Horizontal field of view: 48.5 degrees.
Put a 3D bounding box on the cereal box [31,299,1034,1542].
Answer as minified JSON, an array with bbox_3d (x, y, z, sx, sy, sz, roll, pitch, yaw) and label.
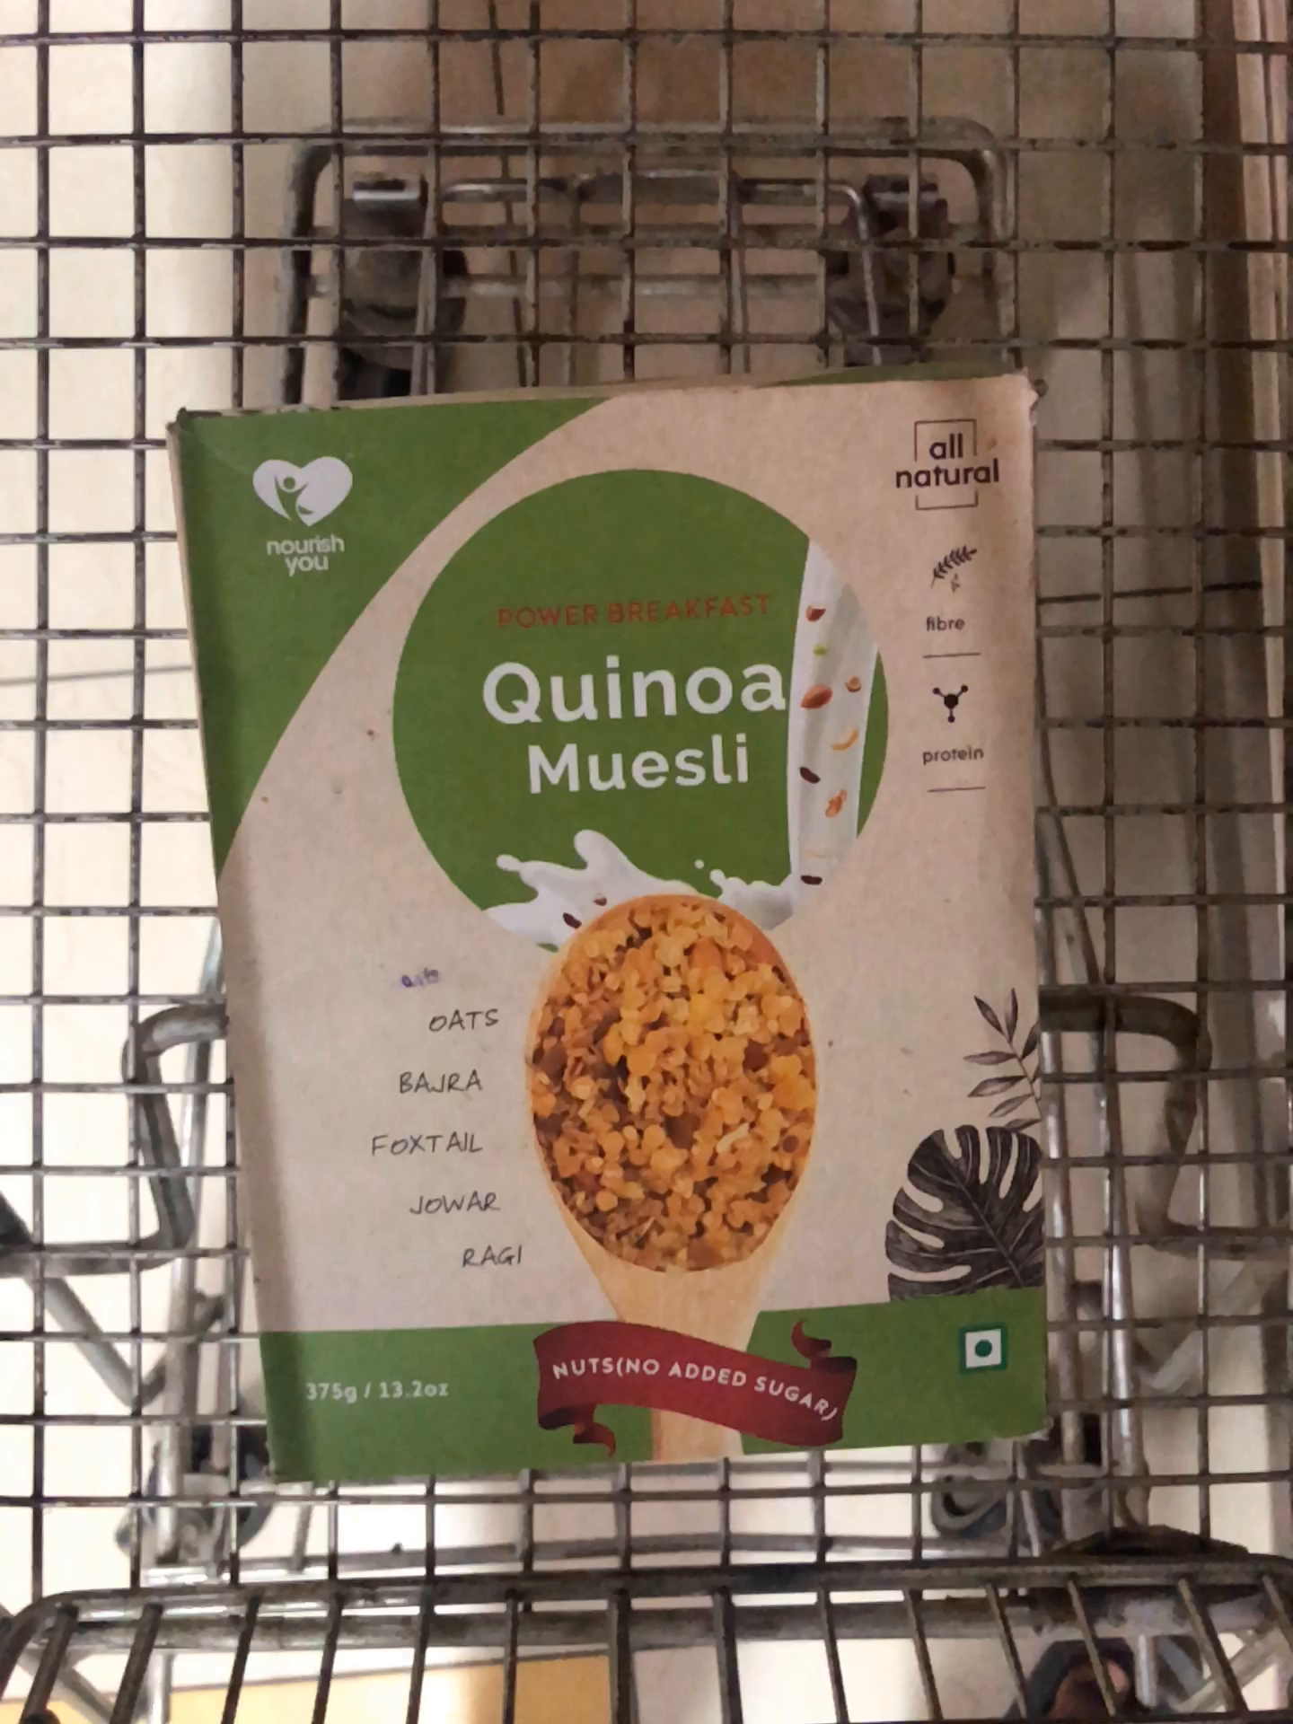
[{"bbox_3d":[-0.015,0.011,0.281,0.160,0.060,0.210,-4,98,-3],"label":"cereal box"}]
